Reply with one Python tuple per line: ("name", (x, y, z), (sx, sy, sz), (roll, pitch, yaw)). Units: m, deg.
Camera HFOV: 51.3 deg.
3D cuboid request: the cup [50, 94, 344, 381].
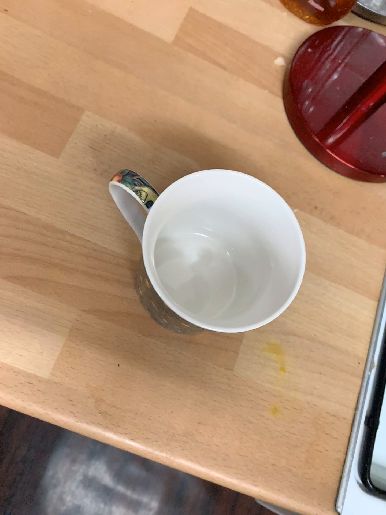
("cup", (-0.002, -0.004, 0.241), (0.120, 0.090, 0.090), (41, 70, -1))
